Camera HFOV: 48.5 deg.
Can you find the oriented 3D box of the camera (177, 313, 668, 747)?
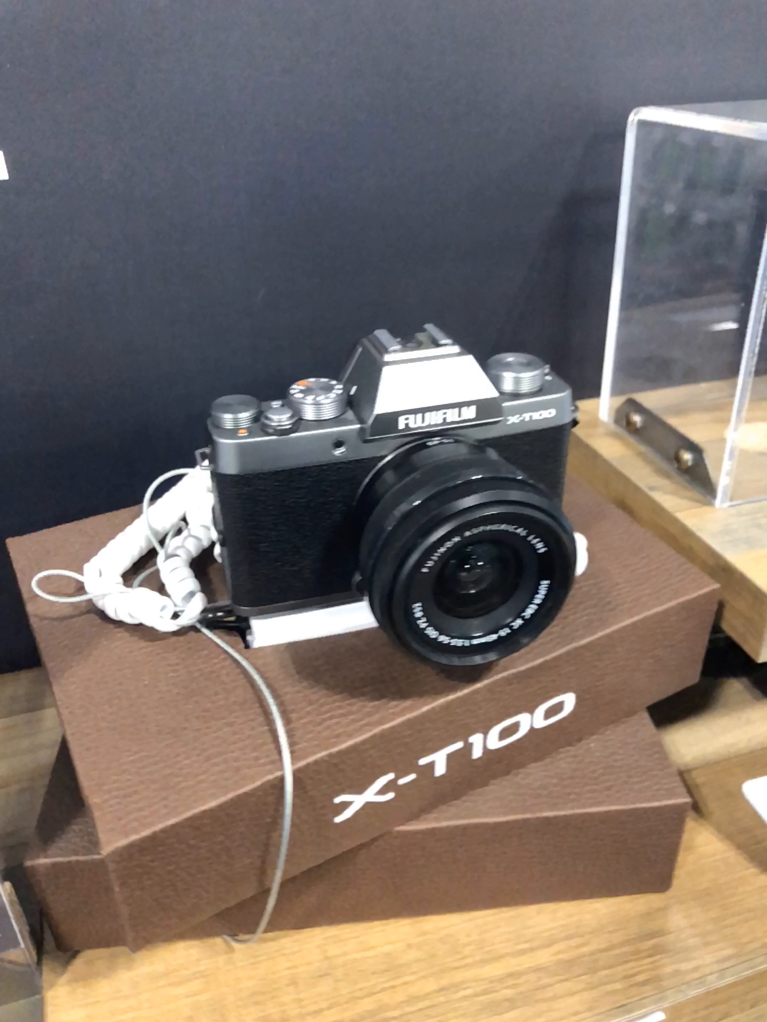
[{"bbox_3d":[0.006,-0.003,0.291,0.130,0.089,0.101,-10,30,-13],"label":"camera"}]
